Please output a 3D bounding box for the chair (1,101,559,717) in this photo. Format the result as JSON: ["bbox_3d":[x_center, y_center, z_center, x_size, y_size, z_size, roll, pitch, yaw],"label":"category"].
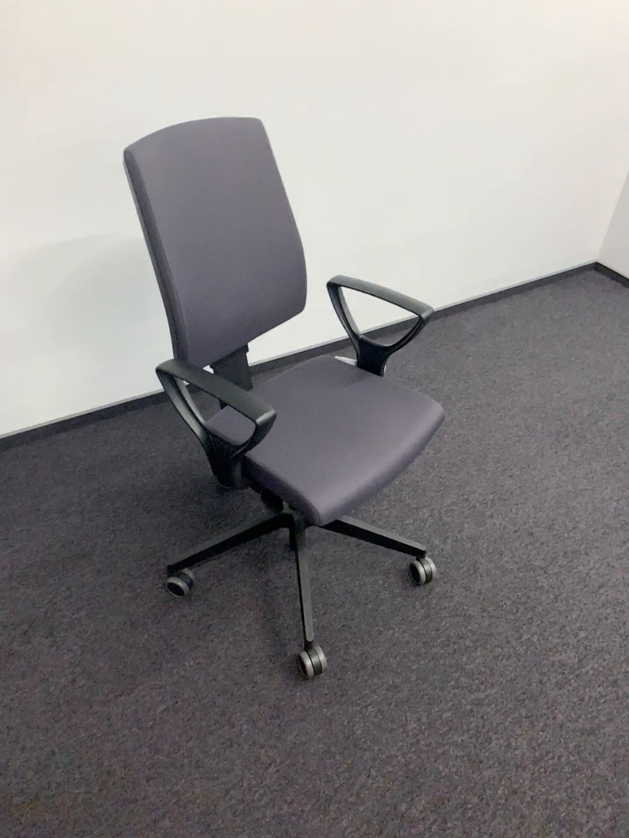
[{"bbox_3d":[-0.066,-0.082,1.499,0.781,1.034,0.703,28,44,33],"label":"chair"}]
